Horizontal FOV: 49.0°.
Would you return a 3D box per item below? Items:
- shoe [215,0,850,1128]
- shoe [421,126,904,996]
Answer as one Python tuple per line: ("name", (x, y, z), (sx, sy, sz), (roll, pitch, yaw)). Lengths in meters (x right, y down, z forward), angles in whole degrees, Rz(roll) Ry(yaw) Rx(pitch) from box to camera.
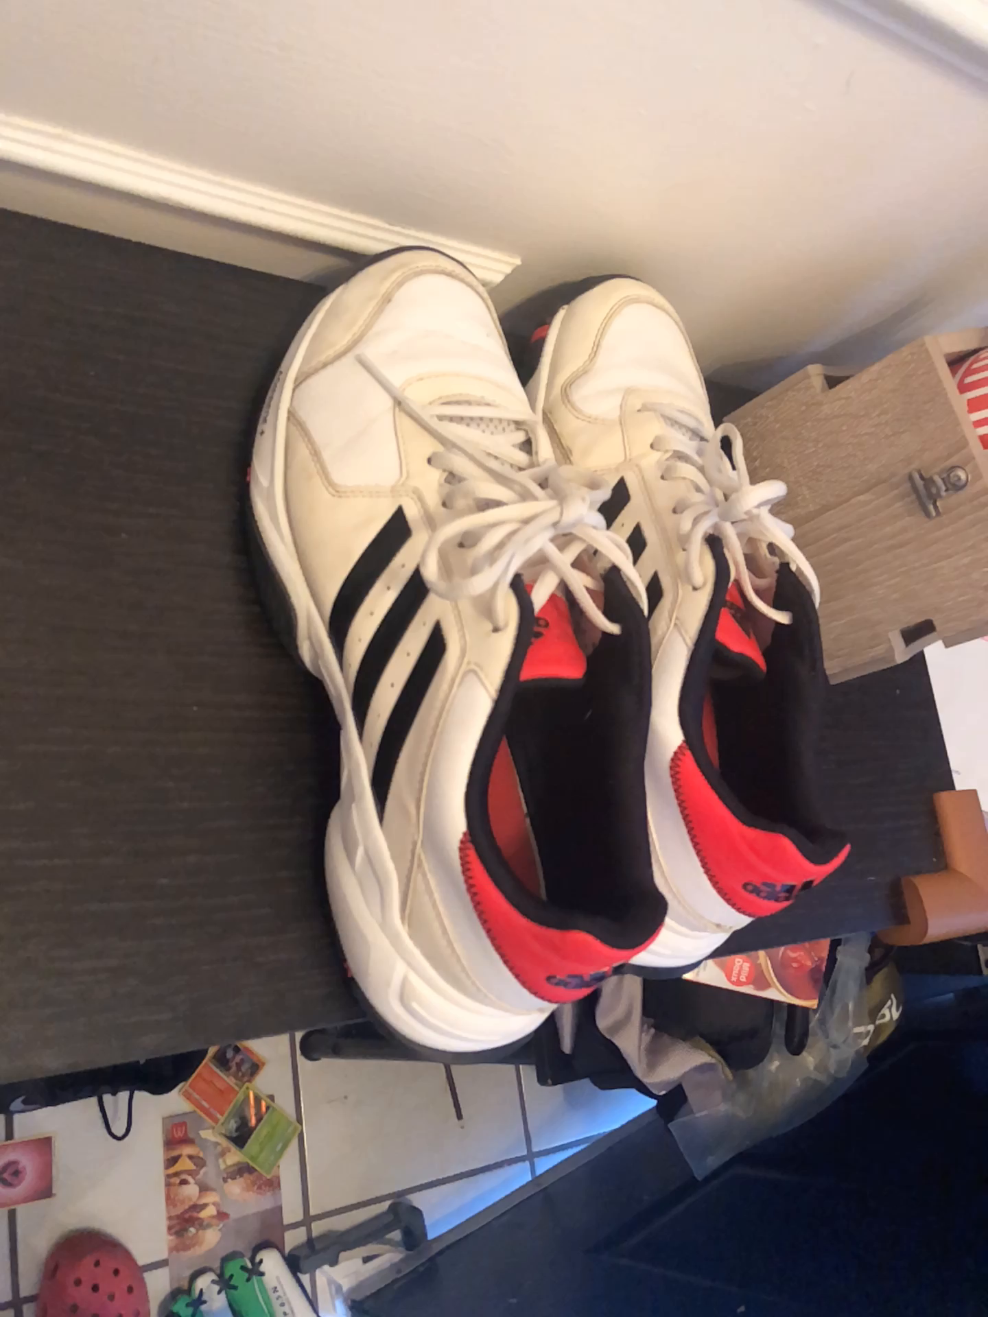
("shoe", (-0.003, -0.033, 0.343), (0.110, 0.110, 0.310), (1, 73, -34))
("shoe", (0.056, -0.034, 0.434), (0.110, 0.100, 0.310), (5, 71, -33))
